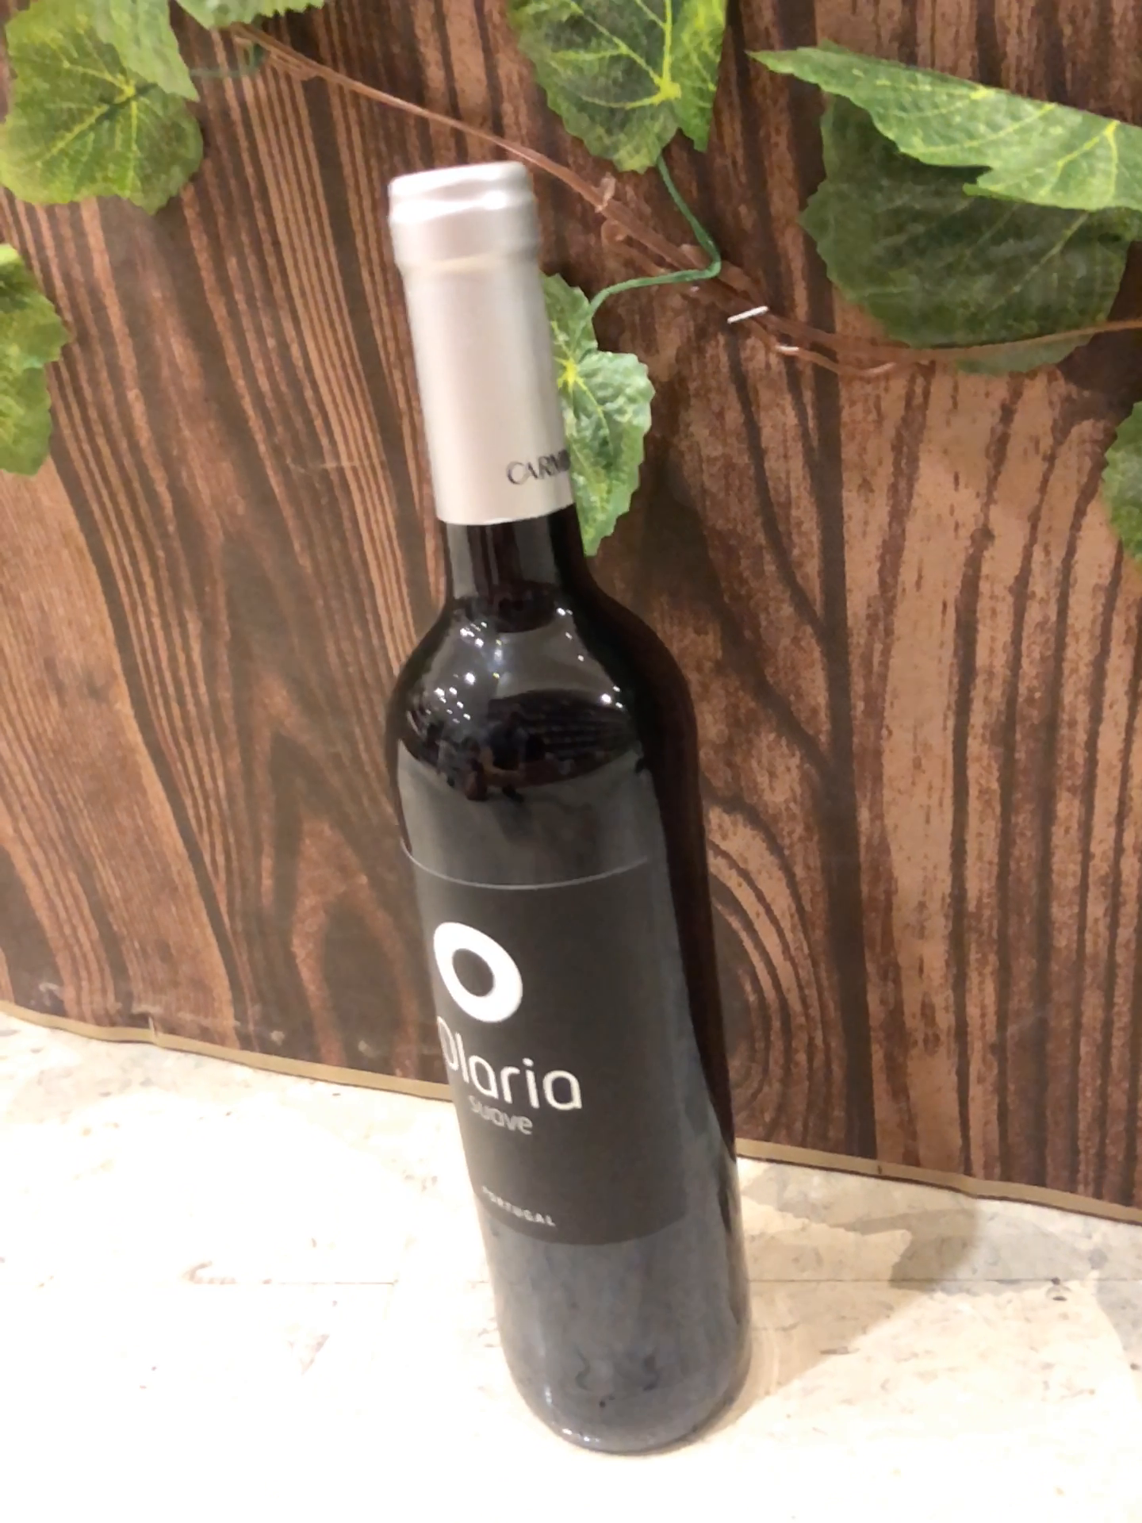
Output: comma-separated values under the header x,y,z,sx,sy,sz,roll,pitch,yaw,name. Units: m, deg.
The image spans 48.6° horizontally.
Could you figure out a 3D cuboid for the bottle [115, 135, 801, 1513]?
x,y,z,sx,sy,sz,roll,pitch,yaw,name
-0.008,0.025,0.297,0.080,0.298,0.080,-7,24,3,bottle
